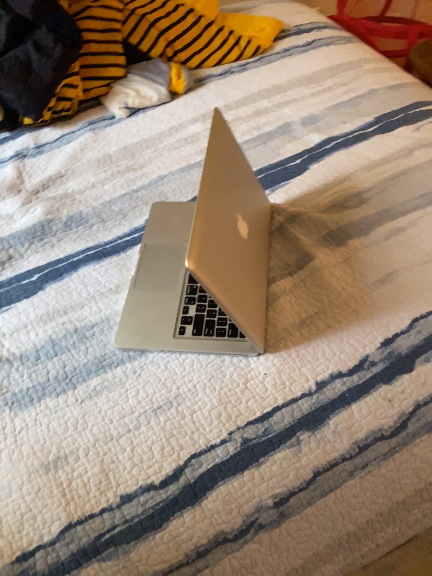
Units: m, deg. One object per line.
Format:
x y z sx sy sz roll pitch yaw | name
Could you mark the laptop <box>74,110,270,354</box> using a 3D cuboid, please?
-0.036 -0.093 0.672 0.220 0.191 0.316 2 53 8 | laptop
